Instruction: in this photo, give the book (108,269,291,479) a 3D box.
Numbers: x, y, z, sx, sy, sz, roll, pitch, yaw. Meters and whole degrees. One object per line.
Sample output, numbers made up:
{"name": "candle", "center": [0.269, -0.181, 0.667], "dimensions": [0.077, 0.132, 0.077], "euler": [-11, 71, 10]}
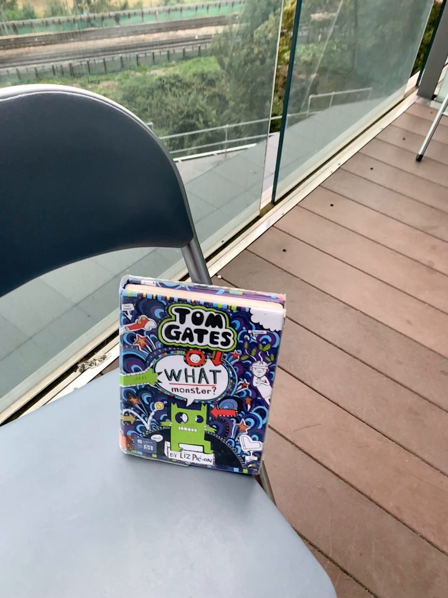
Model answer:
{"name": "book", "center": [-0.027, 0.080, 0.464], "dimensions": [0.160, 0.199, 0.050], "euler": [7, 28, 5]}
